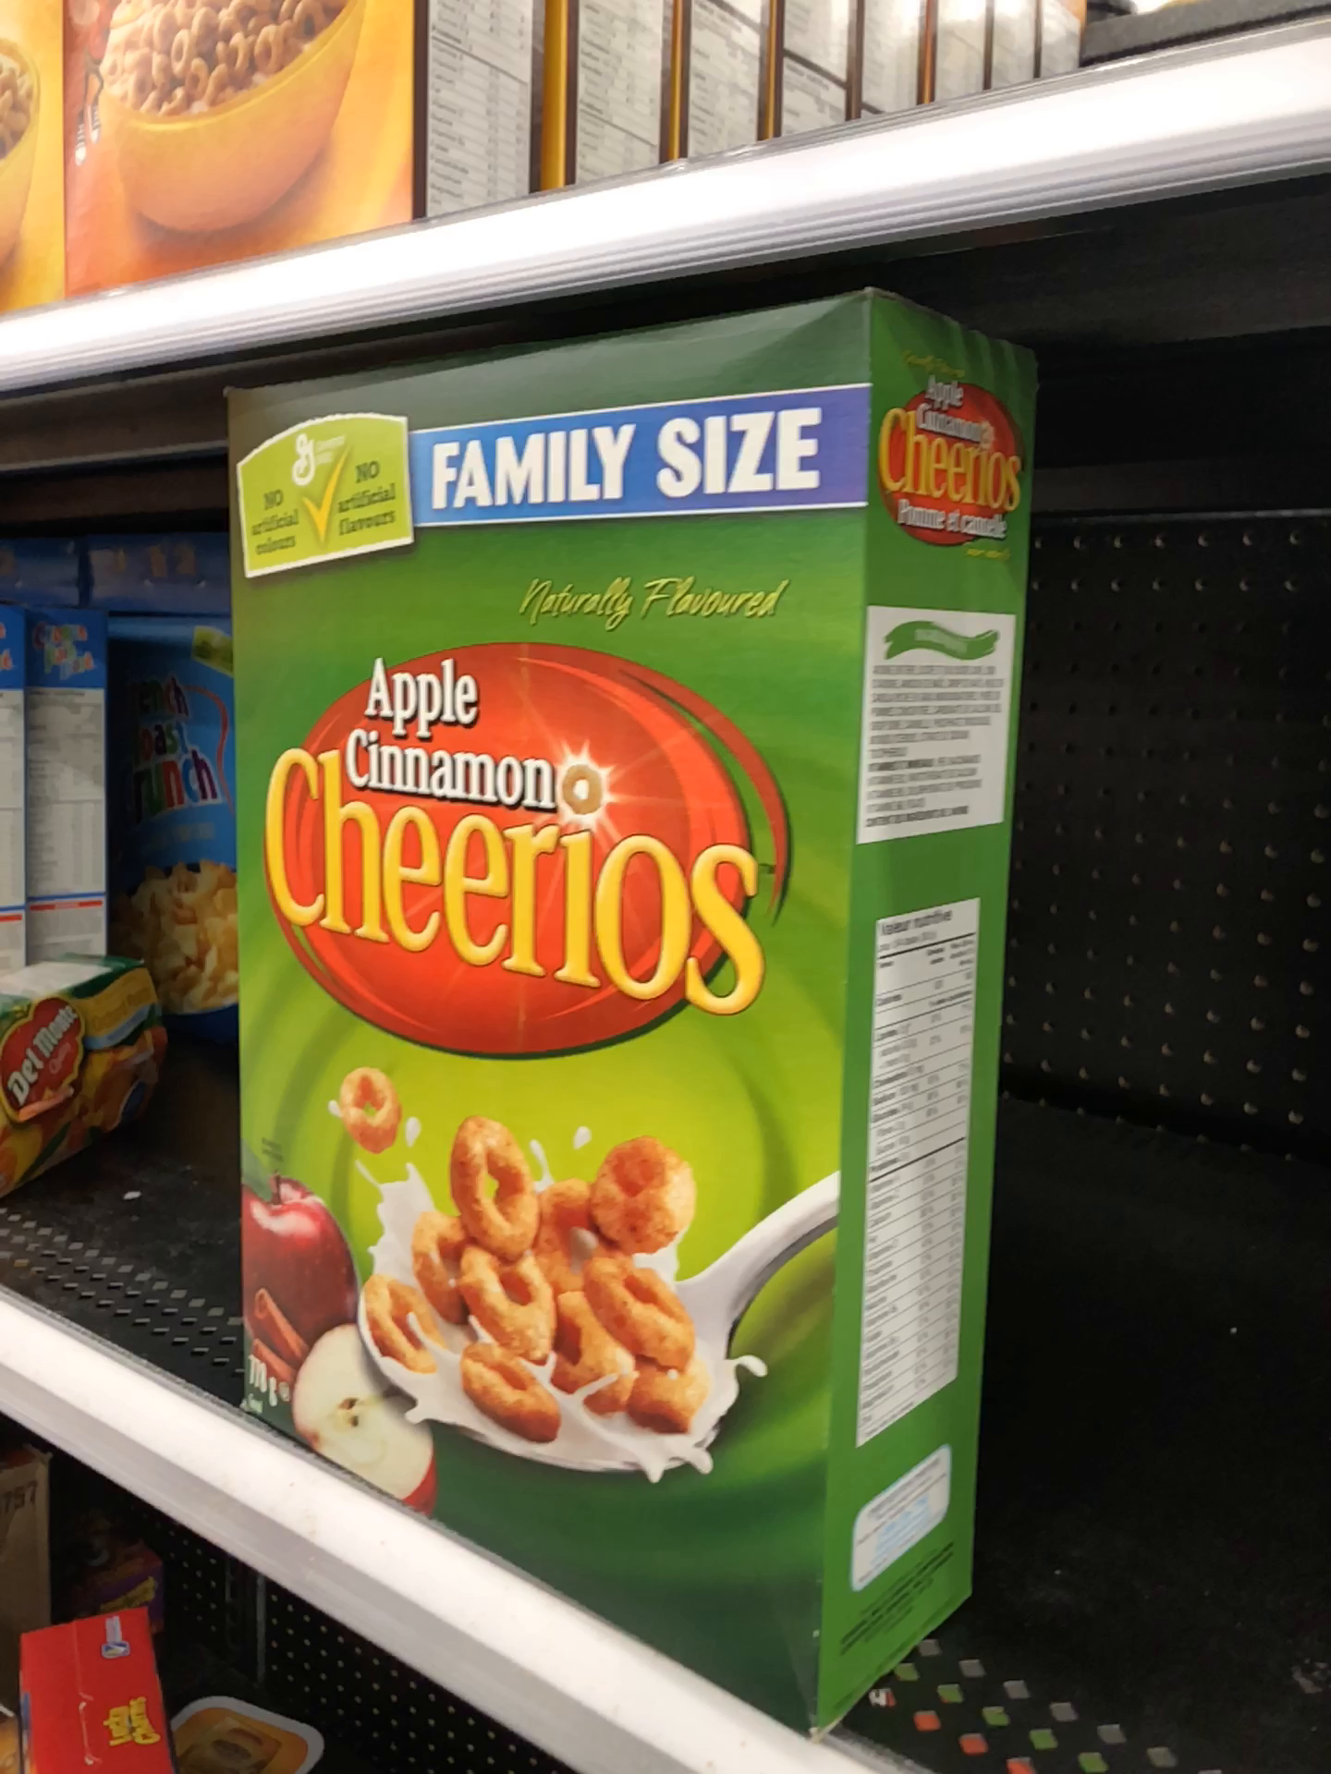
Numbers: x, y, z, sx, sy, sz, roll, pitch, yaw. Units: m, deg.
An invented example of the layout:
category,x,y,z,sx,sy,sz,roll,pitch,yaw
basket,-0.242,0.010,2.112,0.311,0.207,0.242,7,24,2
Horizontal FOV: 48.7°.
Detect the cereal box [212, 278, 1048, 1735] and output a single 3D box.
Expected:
category,x,y,z,sx,sy,sz,roll,pitch,yaw
cereal box,-0.027,0.019,0.432,0.240,0.329,0.080,8,10,39
